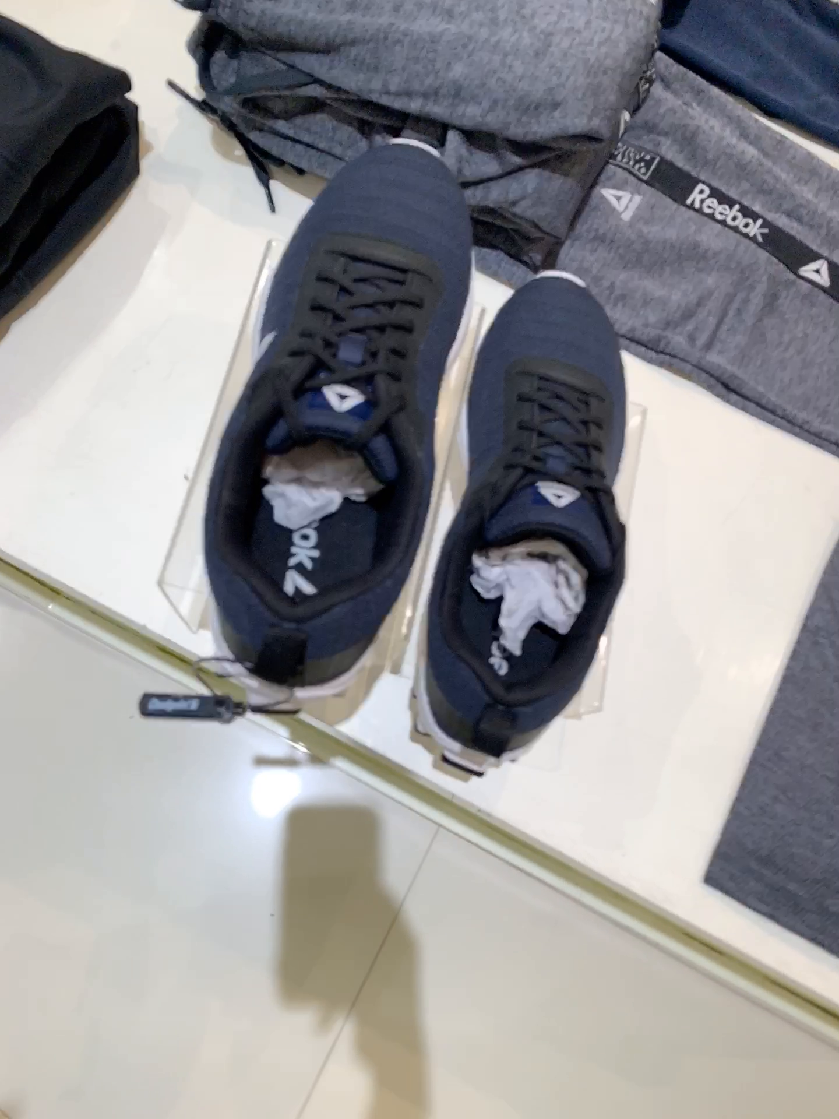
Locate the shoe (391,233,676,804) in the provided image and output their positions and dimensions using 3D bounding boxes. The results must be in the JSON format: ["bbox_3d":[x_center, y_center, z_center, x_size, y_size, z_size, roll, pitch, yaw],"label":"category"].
[{"bbox_3d":[0.068,-0.035,0.449,0.100,0.080,0.291,14,58,-3],"label":"shoe"}]

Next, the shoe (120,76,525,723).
[{"bbox_3d":[-0.036,-0.076,0.406,0.120,0.080,0.281,12,73,-4],"label":"shoe"}]
